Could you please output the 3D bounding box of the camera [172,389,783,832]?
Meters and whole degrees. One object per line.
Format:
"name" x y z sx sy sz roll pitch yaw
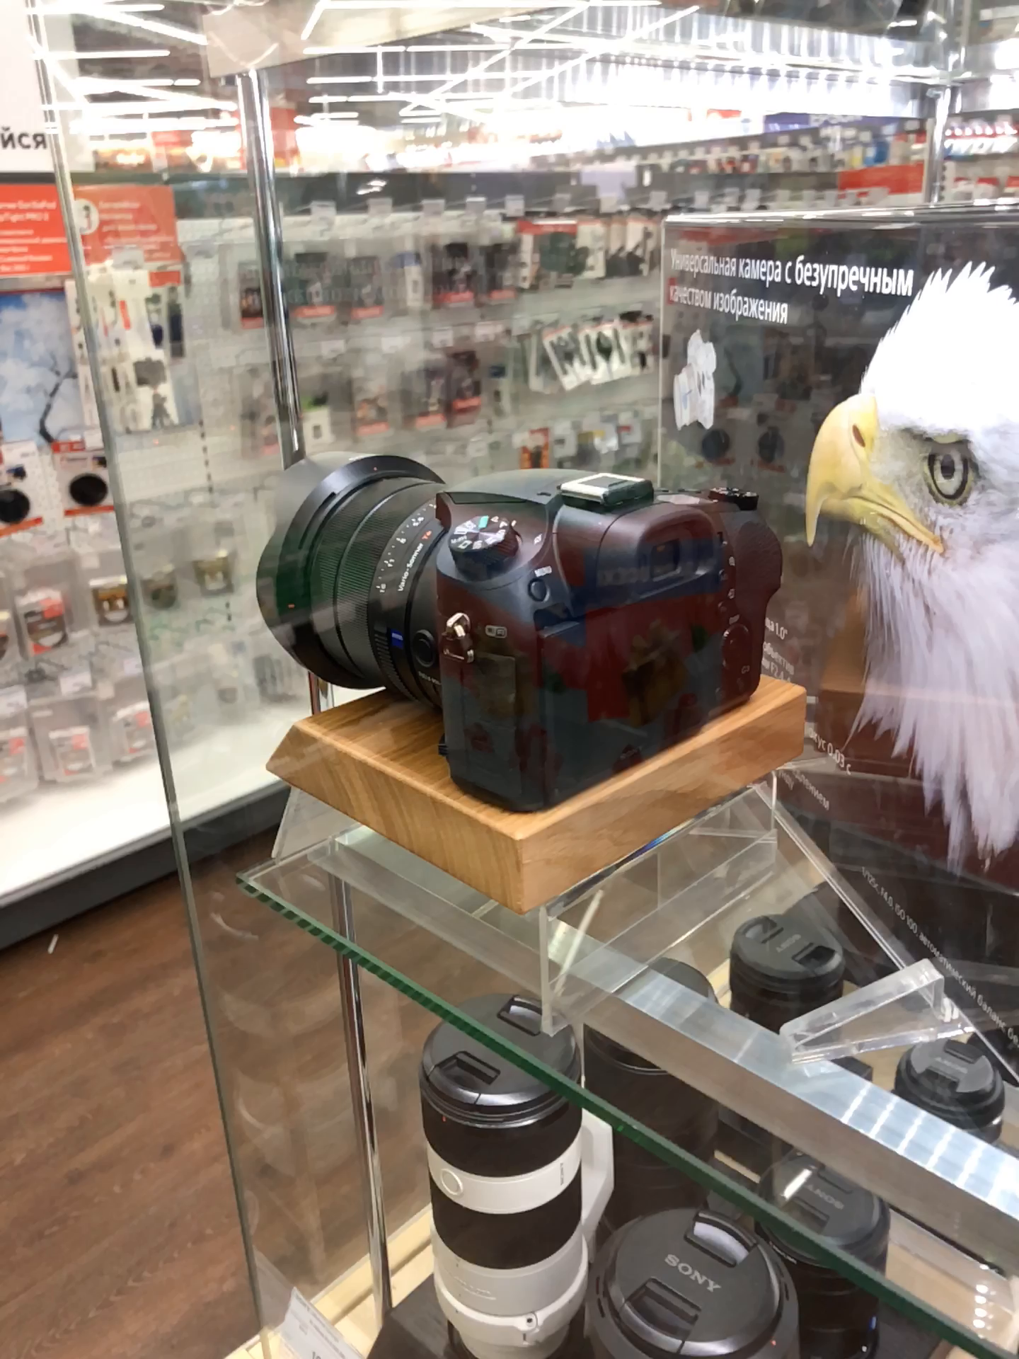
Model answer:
"camera" -0.015 -0.041 0.409 0.126 0.099 0.178 -21 28 -39
